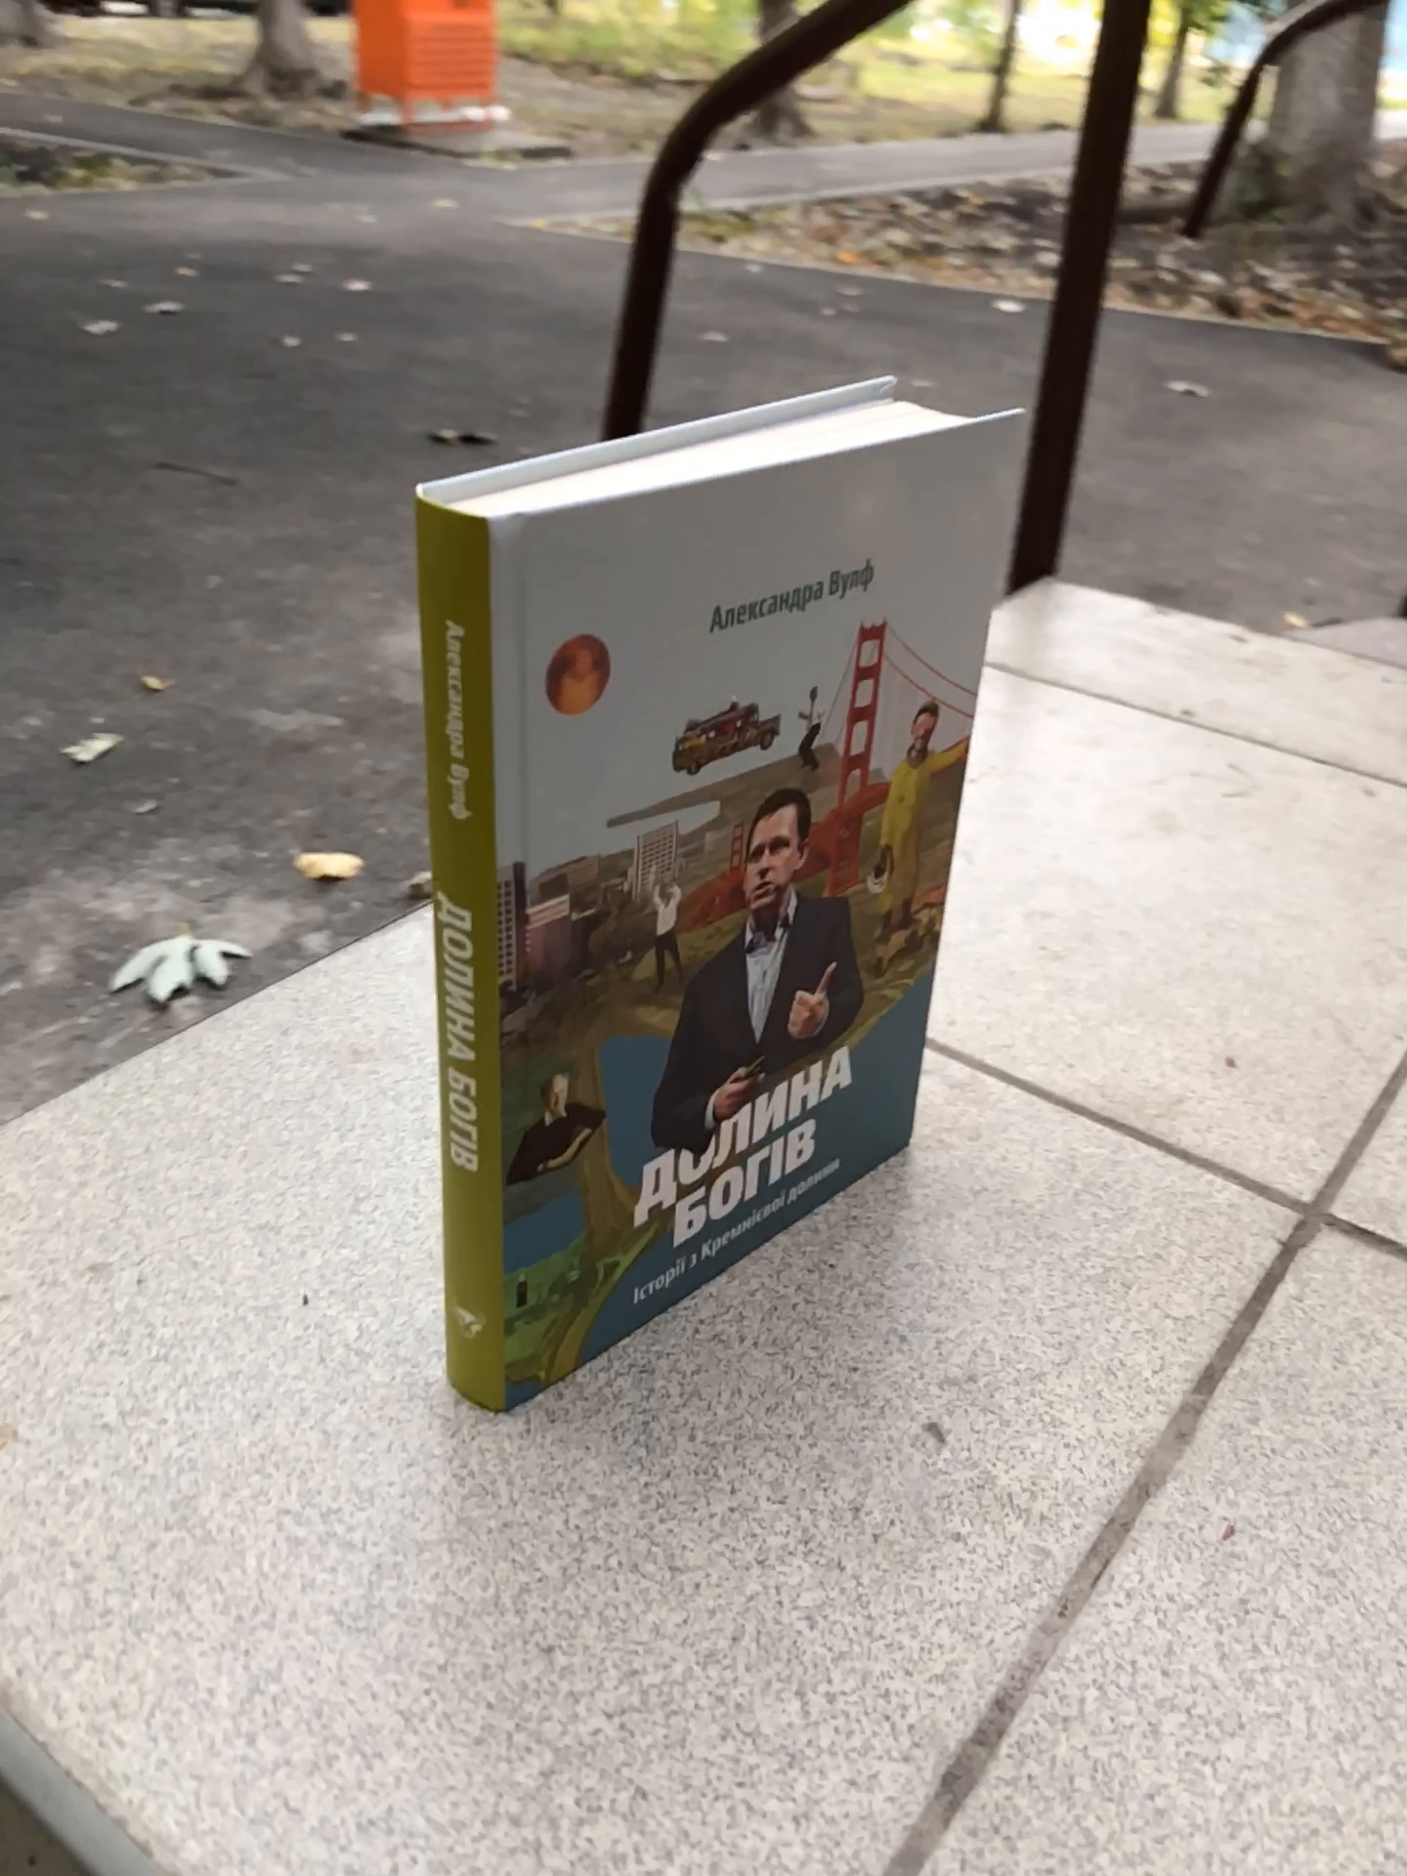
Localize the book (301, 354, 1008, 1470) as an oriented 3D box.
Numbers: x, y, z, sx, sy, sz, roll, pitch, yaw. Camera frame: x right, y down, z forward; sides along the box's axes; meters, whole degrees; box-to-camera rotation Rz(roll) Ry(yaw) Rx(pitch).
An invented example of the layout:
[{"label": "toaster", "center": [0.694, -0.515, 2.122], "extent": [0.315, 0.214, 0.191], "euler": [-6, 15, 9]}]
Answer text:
[{"label": "book", "center": [-0.002, -0.011, 0.355], "extent": [0.044, 0.208, 0.161], "euler": [23, 37, 33]}]
